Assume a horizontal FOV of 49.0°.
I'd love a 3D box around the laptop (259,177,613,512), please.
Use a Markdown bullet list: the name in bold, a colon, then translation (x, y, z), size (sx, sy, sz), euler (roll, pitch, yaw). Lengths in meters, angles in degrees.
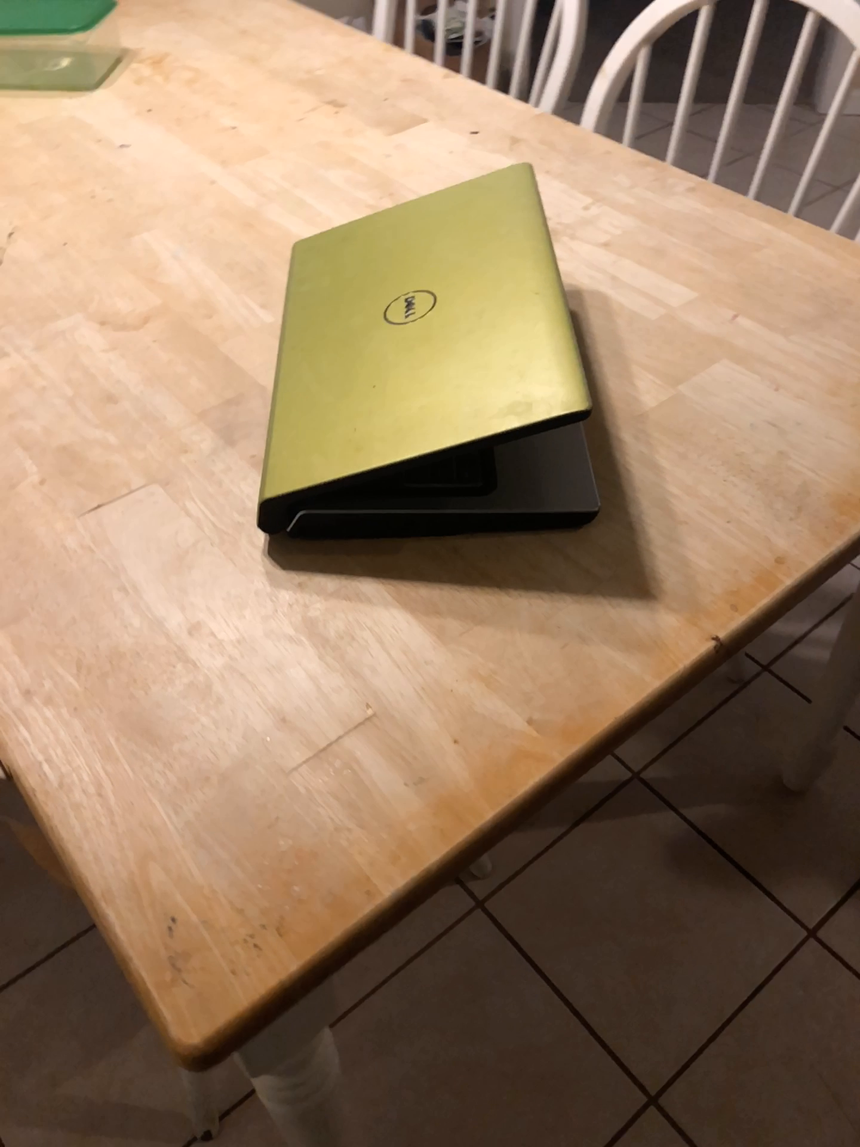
- **laptop**: translation (0.001, -0.201, 0.756), size (0.227, 0.076, 0.360), euler (-1, 46, -2)
